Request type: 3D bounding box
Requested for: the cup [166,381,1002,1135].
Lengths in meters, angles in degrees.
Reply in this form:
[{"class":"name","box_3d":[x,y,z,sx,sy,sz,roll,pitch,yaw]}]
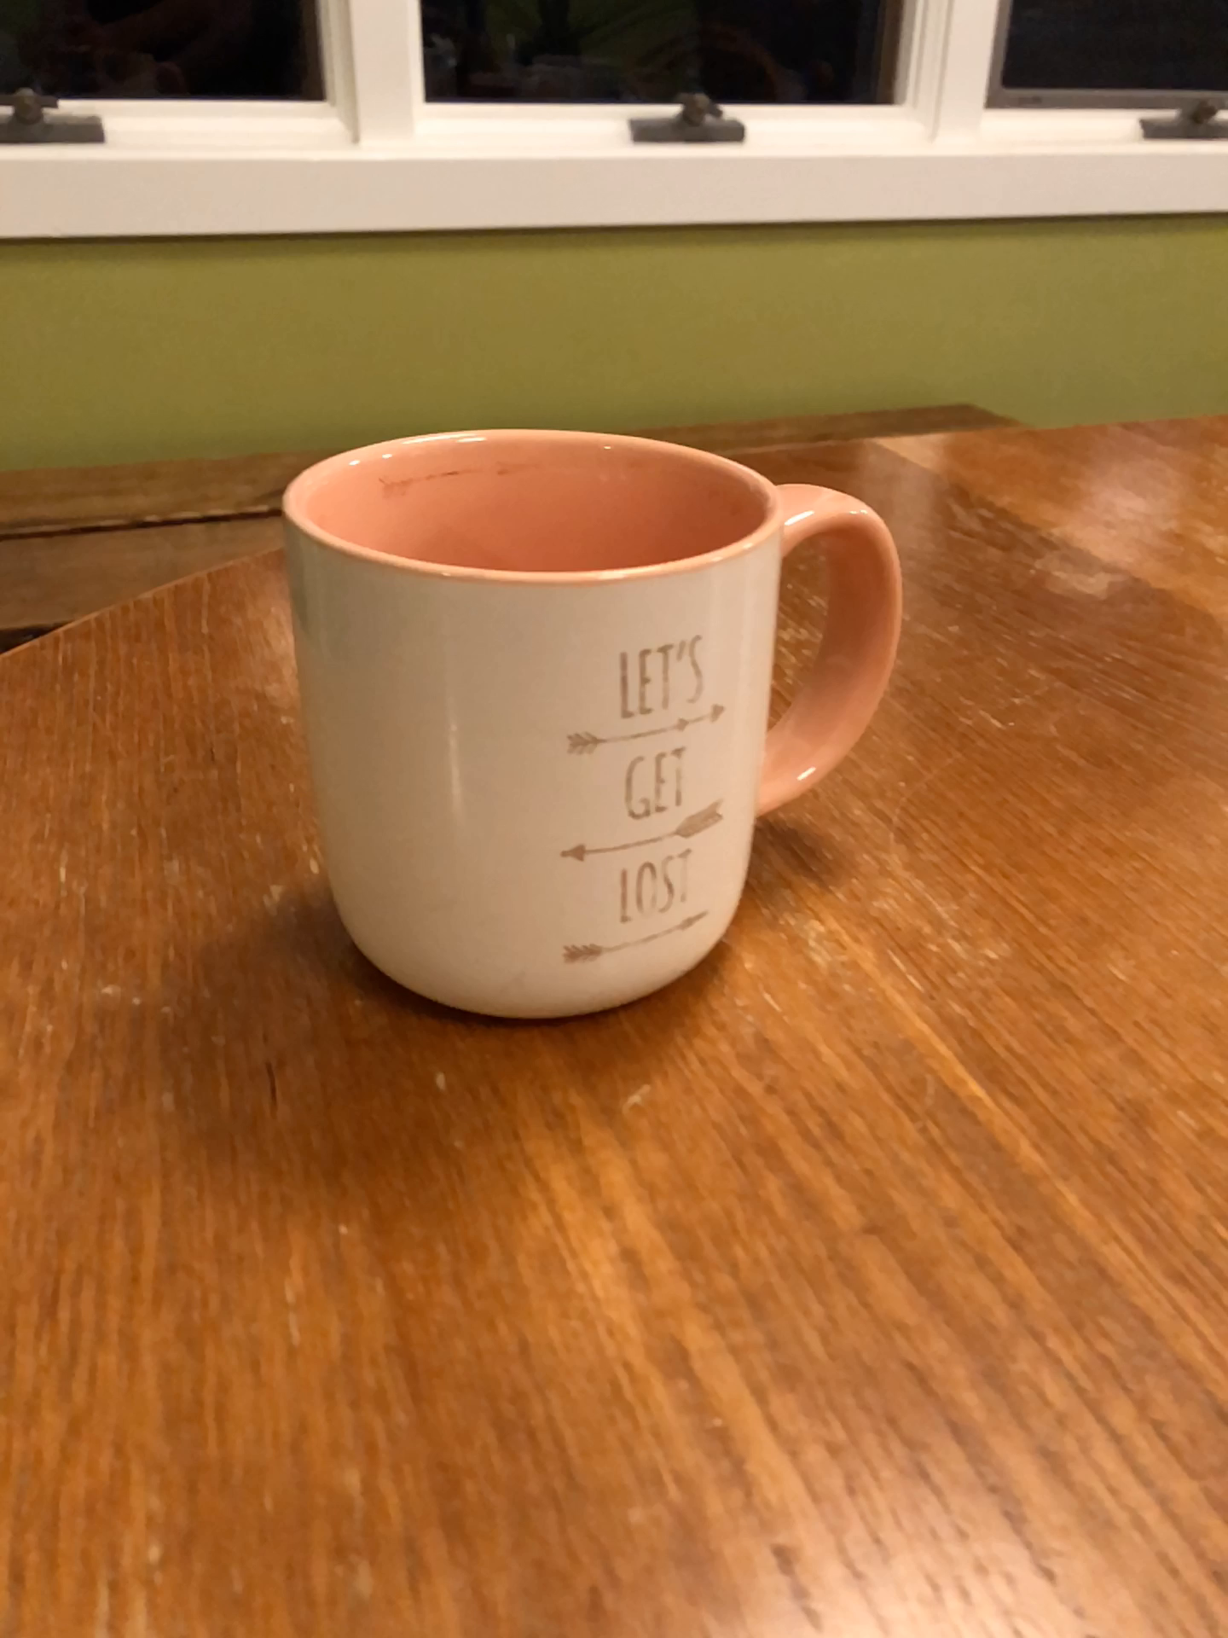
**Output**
[{"class":"cup","box_3d":[-0.004,-0.026,0.304,0.145,0.106,0.094,-21,36,-33]}]
